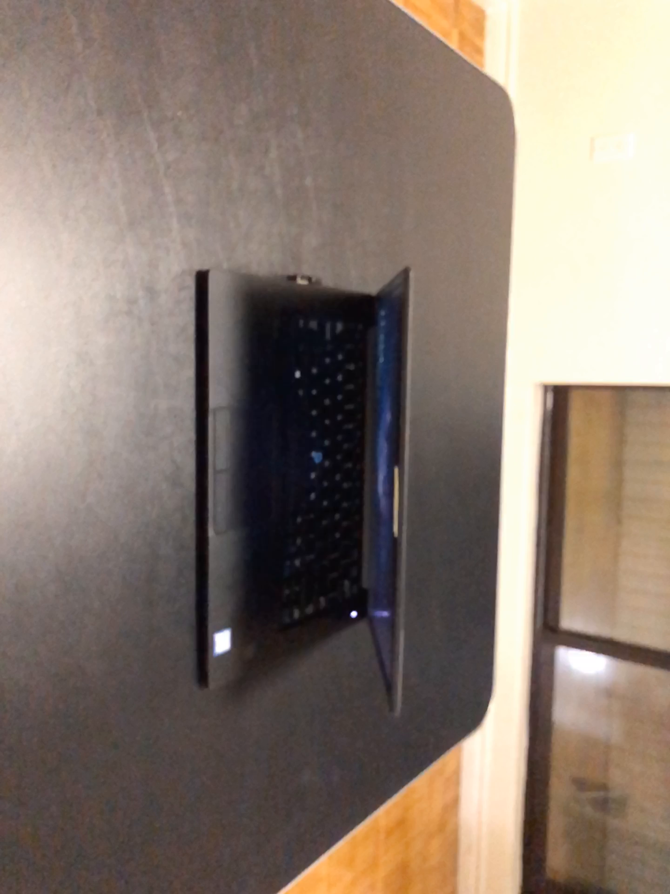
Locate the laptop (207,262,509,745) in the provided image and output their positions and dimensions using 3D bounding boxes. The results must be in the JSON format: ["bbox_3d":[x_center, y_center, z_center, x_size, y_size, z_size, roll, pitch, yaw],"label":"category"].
[{"bbox_3d":[0.026,0.026,0.618,0.221,0.142,0.318,-7,99,-54],"label":"laptop"}]
